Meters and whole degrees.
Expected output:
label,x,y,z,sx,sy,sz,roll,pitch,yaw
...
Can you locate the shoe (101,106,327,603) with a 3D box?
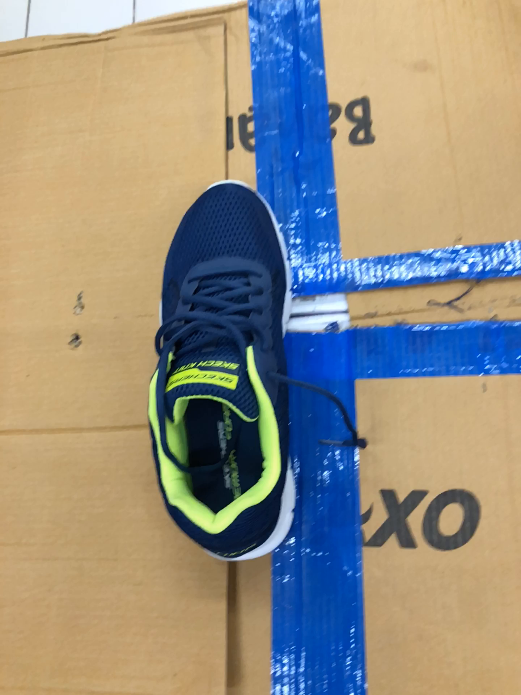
label,x,y,z,sx,sy,sz,roll,pitch,yaw
shoe,-0.029,0.007,0.405,0.110,0.130,0.290,-7,76,9
